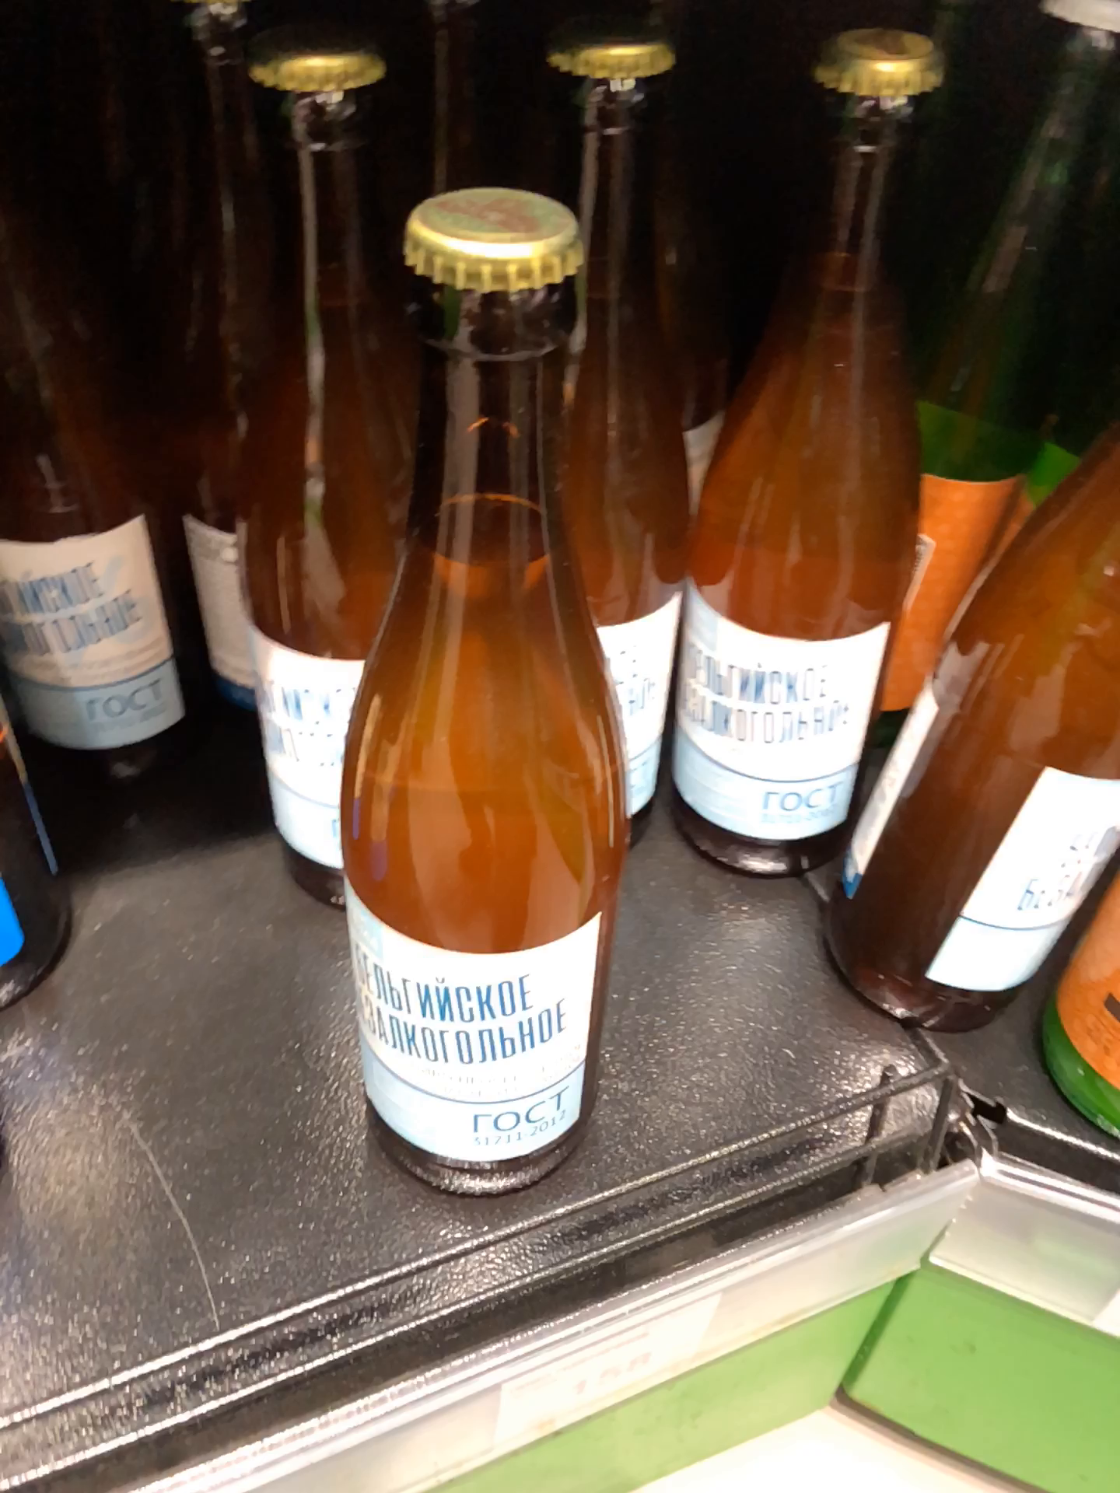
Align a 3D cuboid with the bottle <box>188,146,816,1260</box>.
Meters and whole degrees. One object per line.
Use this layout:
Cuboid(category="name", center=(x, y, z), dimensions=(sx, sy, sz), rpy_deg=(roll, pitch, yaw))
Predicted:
Cuboid(category="bottle", center=(-0.012, 0.011, 0.293), dimensions=(0.080, 0.255, 0.080), rpy_deg=(3, 42, -2))
